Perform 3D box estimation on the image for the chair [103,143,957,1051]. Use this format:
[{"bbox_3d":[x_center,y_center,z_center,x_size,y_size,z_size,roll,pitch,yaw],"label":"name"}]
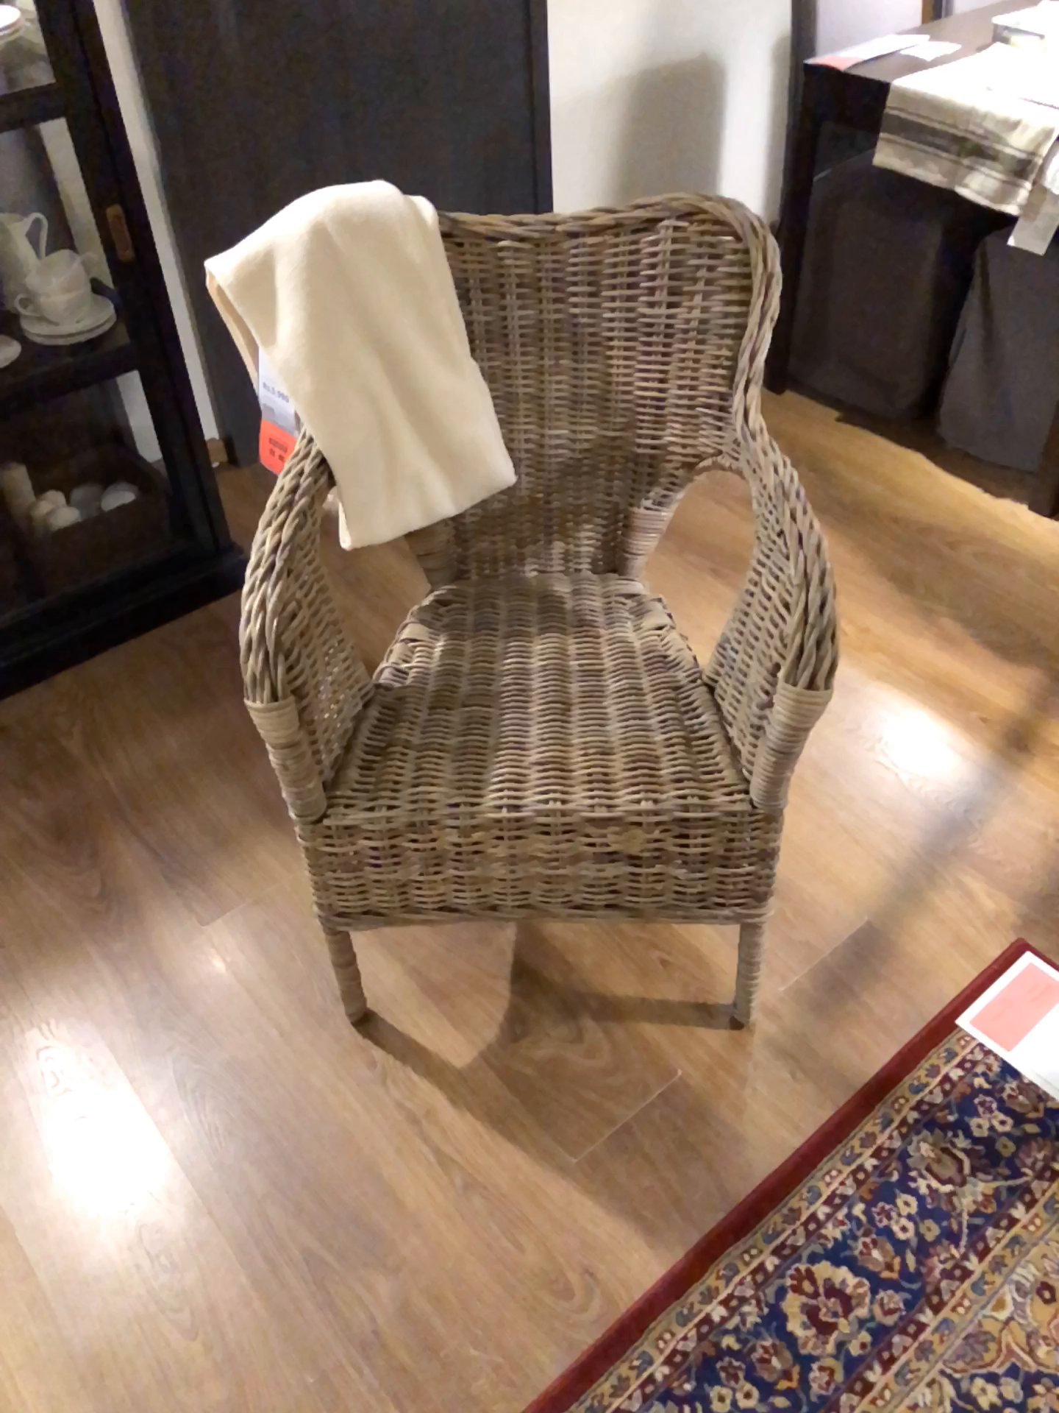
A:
[{"bbox_3d":[0.014,-0.109,1.348,0.620,0.814,0.634,-2,42,2],"label":"chair"}]
